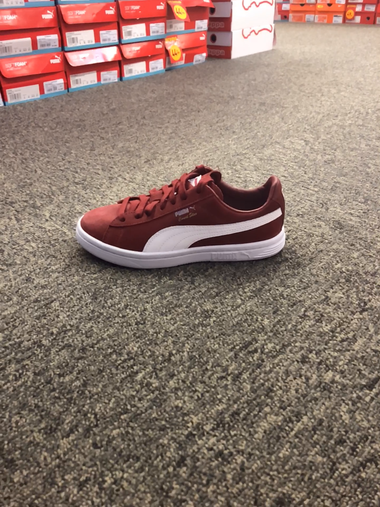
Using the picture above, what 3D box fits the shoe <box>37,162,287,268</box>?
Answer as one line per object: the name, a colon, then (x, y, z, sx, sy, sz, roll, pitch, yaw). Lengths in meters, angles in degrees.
shoe: (-0.025, -0.048, 0.475, 0.250, 0.080, 0.101, 1, 33, 6)
